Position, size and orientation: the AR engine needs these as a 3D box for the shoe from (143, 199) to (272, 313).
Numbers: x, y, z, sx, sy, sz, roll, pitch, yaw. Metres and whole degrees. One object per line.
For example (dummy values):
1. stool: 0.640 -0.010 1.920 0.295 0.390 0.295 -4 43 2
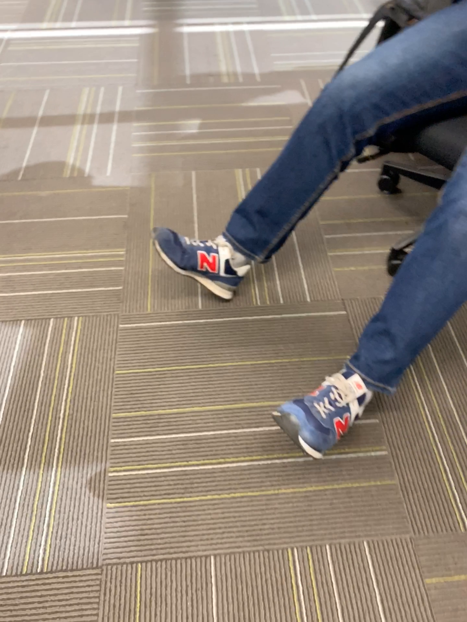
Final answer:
1. shoe: -0.063 -0.134 1.242 0.136 0.295 0.121 -48 42 14

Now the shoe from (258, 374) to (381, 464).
1. shoe: 0.180 0.199 0.943 0.115 0.302 0.096 41 103 27
